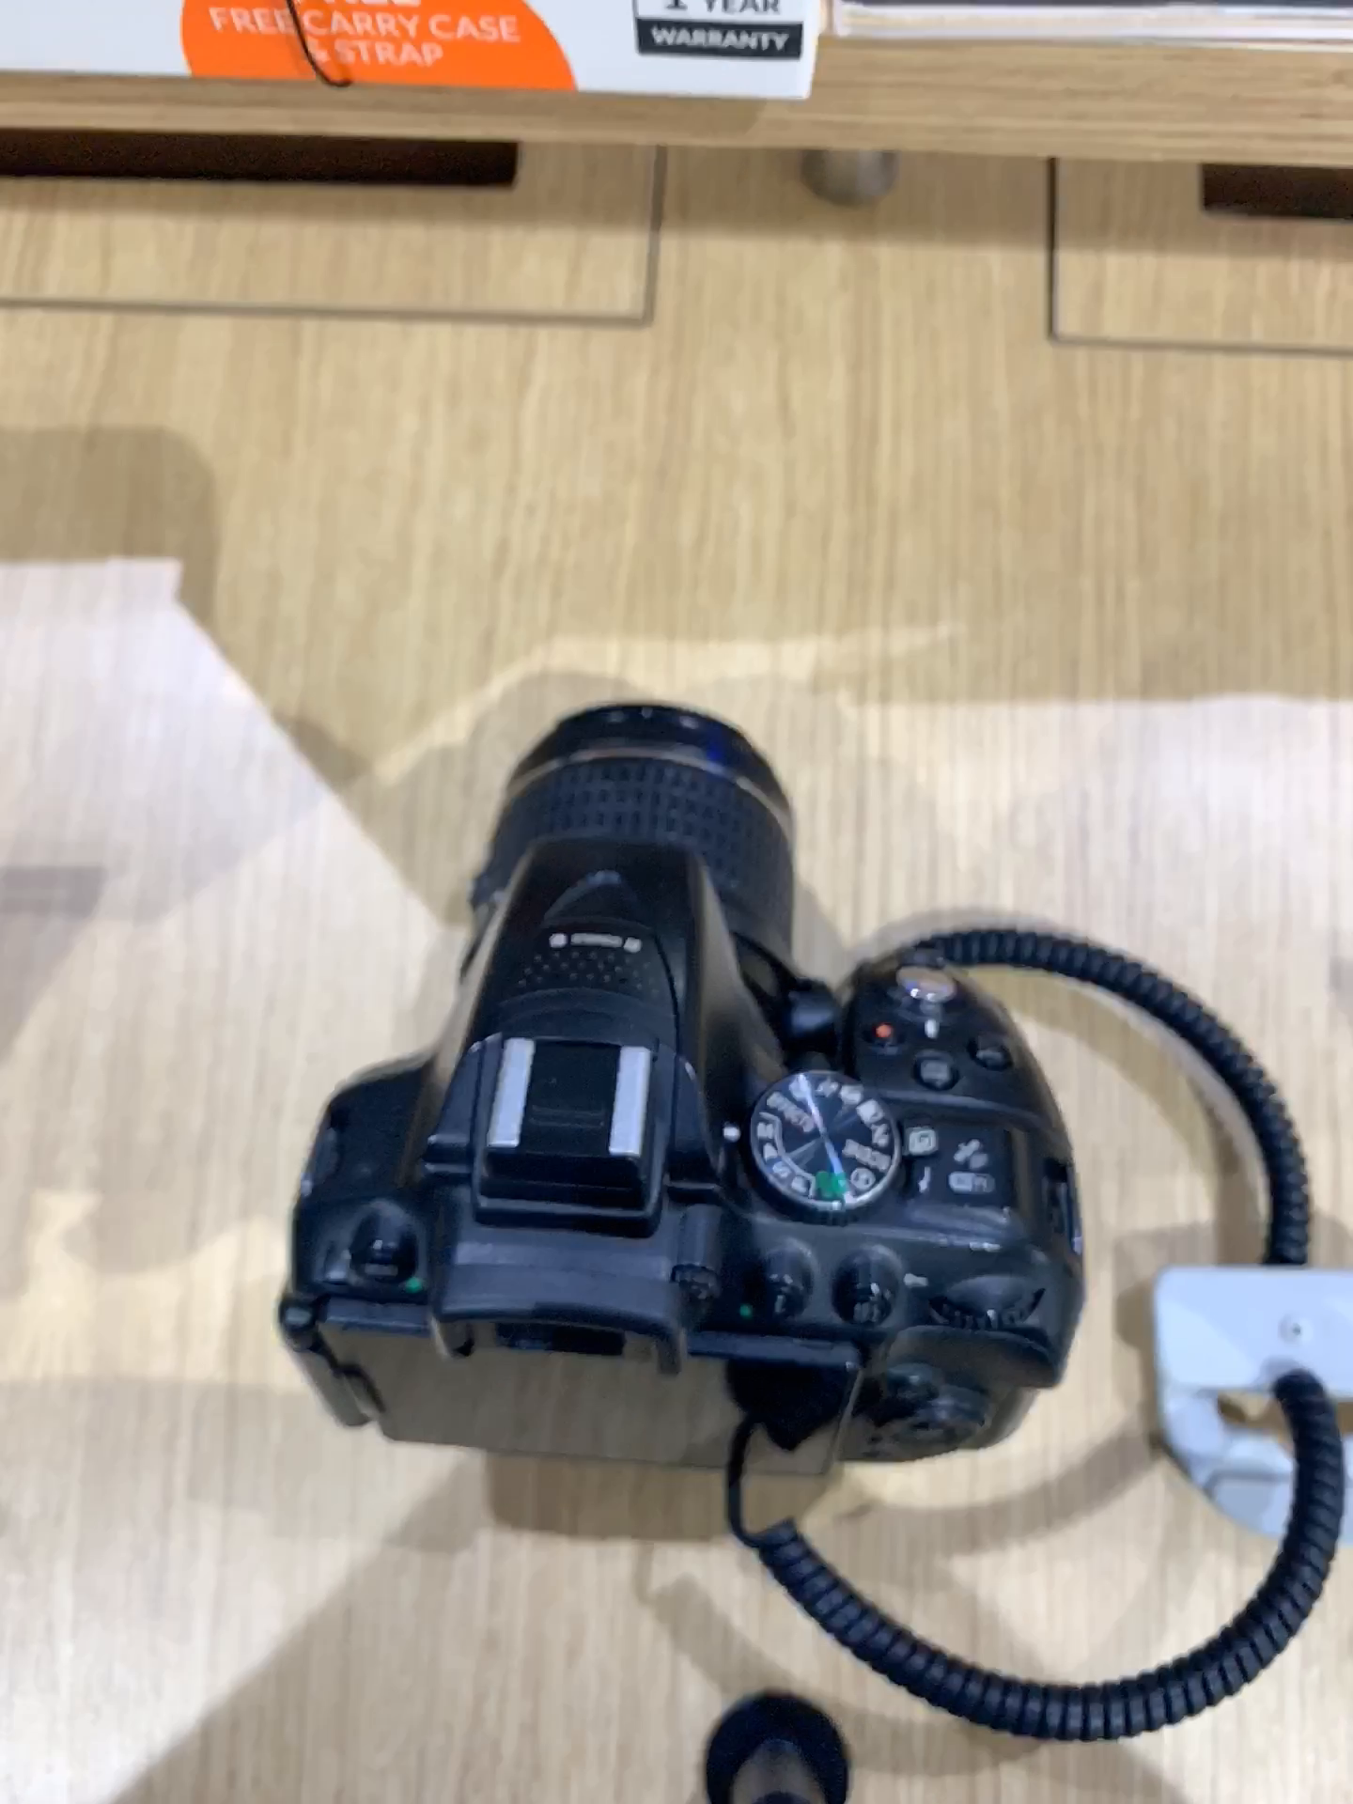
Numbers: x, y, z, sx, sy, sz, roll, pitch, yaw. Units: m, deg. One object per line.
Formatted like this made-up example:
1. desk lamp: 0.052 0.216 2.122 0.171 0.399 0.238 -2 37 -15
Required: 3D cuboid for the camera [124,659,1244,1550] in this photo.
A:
1. camera: 0.004 0.032 0.229 0.130 0.080 0.110 3 54 3
